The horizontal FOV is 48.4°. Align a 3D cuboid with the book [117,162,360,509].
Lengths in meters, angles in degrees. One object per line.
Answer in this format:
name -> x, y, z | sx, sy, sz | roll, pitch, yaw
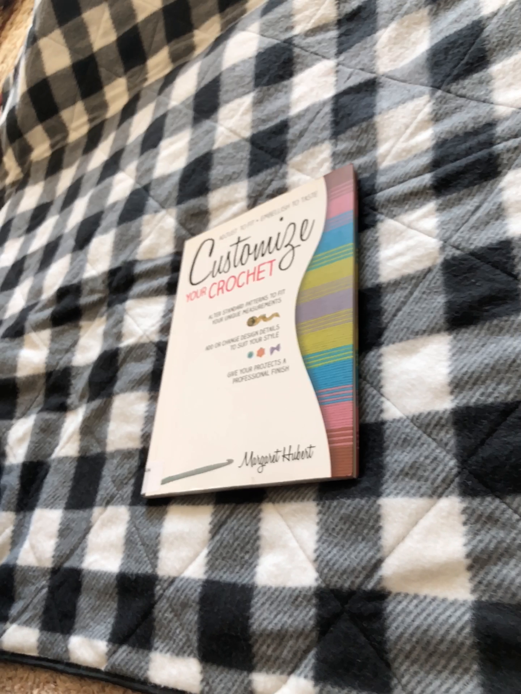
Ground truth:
book -> -0.015, -0.006, 0.434 | 0.187, 0.020, 0.238 | -15, 56, 36
